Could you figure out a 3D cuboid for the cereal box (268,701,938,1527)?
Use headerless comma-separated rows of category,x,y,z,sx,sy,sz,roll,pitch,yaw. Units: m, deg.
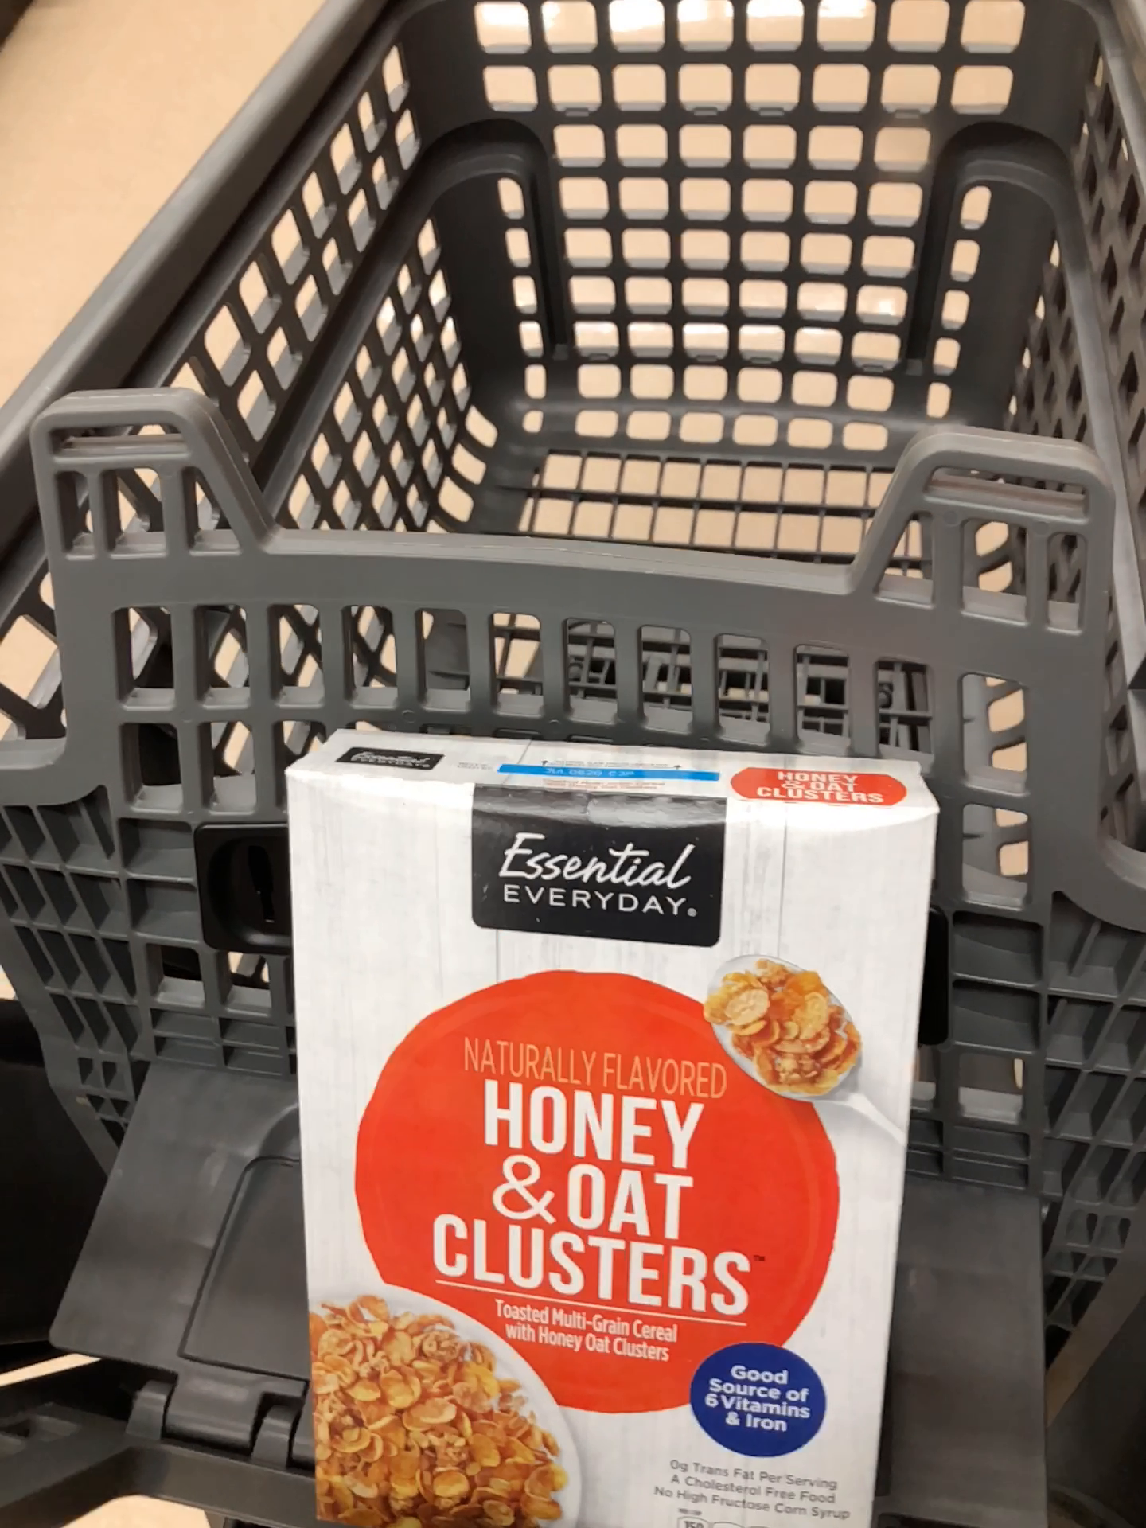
cereal box,0.008,0.128,0.426,0.190,0.280,0.070,4,16,9
